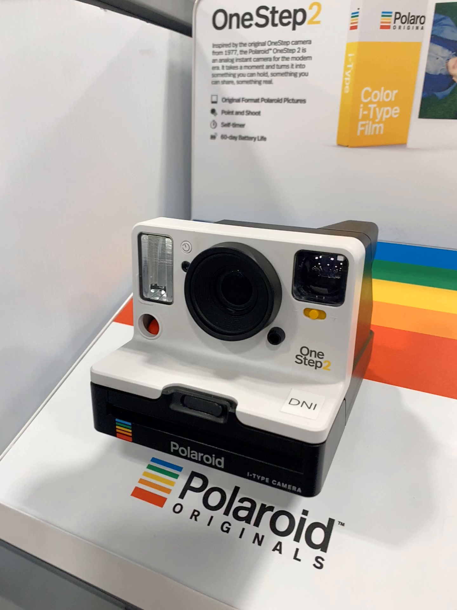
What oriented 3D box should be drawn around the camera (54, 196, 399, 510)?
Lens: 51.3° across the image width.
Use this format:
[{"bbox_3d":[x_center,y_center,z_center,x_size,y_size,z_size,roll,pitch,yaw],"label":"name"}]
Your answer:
[{"bbox_3d":[0.012,0.002,0.247,0.120,0.090,0.145,11,21,22],"label":"camera"}]
